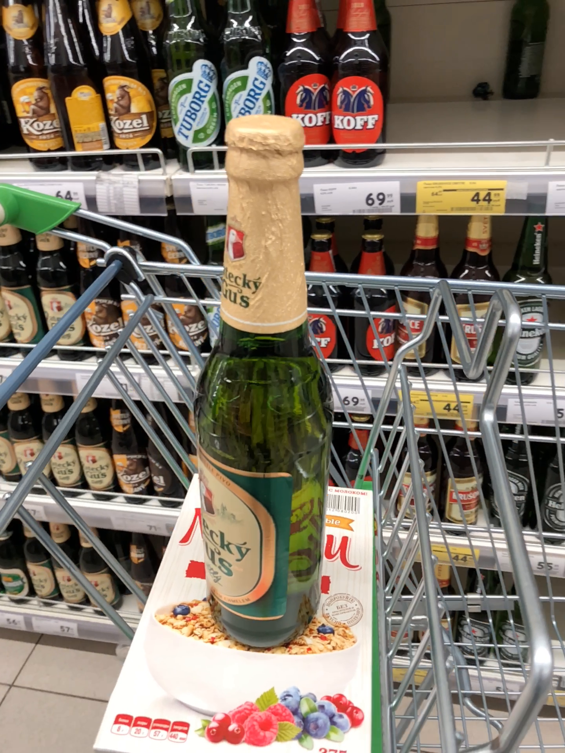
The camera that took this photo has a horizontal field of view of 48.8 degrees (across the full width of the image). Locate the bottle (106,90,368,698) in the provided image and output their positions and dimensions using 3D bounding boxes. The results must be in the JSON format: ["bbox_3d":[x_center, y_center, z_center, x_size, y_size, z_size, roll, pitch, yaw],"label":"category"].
[{"bbox_3d":[-0.014,0.022,0.289,0.070,0.268,0.080,-14,33,-17],"label":"bottle"}]
